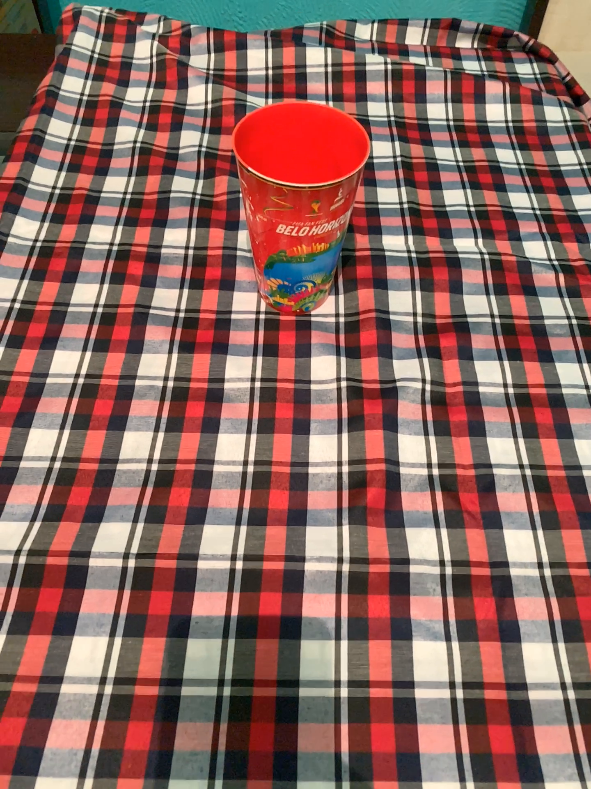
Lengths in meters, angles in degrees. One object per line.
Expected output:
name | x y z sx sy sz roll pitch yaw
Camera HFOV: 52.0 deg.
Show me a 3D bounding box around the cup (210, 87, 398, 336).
cup | 0.000 -0.131 0.447 0.100 0.130 0.100 1 56 -2
